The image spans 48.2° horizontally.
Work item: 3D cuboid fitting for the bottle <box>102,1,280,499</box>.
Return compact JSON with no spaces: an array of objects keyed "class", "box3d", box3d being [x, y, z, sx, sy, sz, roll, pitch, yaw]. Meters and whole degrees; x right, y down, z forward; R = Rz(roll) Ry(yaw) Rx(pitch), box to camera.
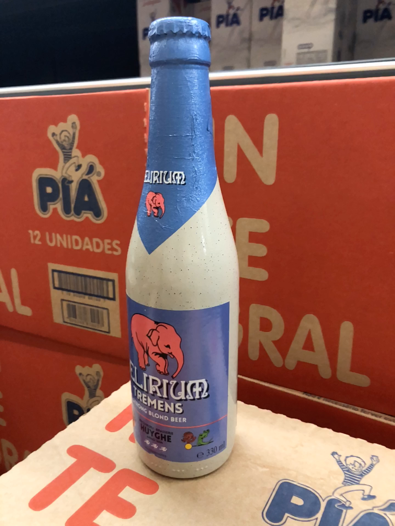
[{"class":"bottle","box3d":[-0.004,-0.002,0.231,0.060,0.219,0.060,1,13,0]}]
